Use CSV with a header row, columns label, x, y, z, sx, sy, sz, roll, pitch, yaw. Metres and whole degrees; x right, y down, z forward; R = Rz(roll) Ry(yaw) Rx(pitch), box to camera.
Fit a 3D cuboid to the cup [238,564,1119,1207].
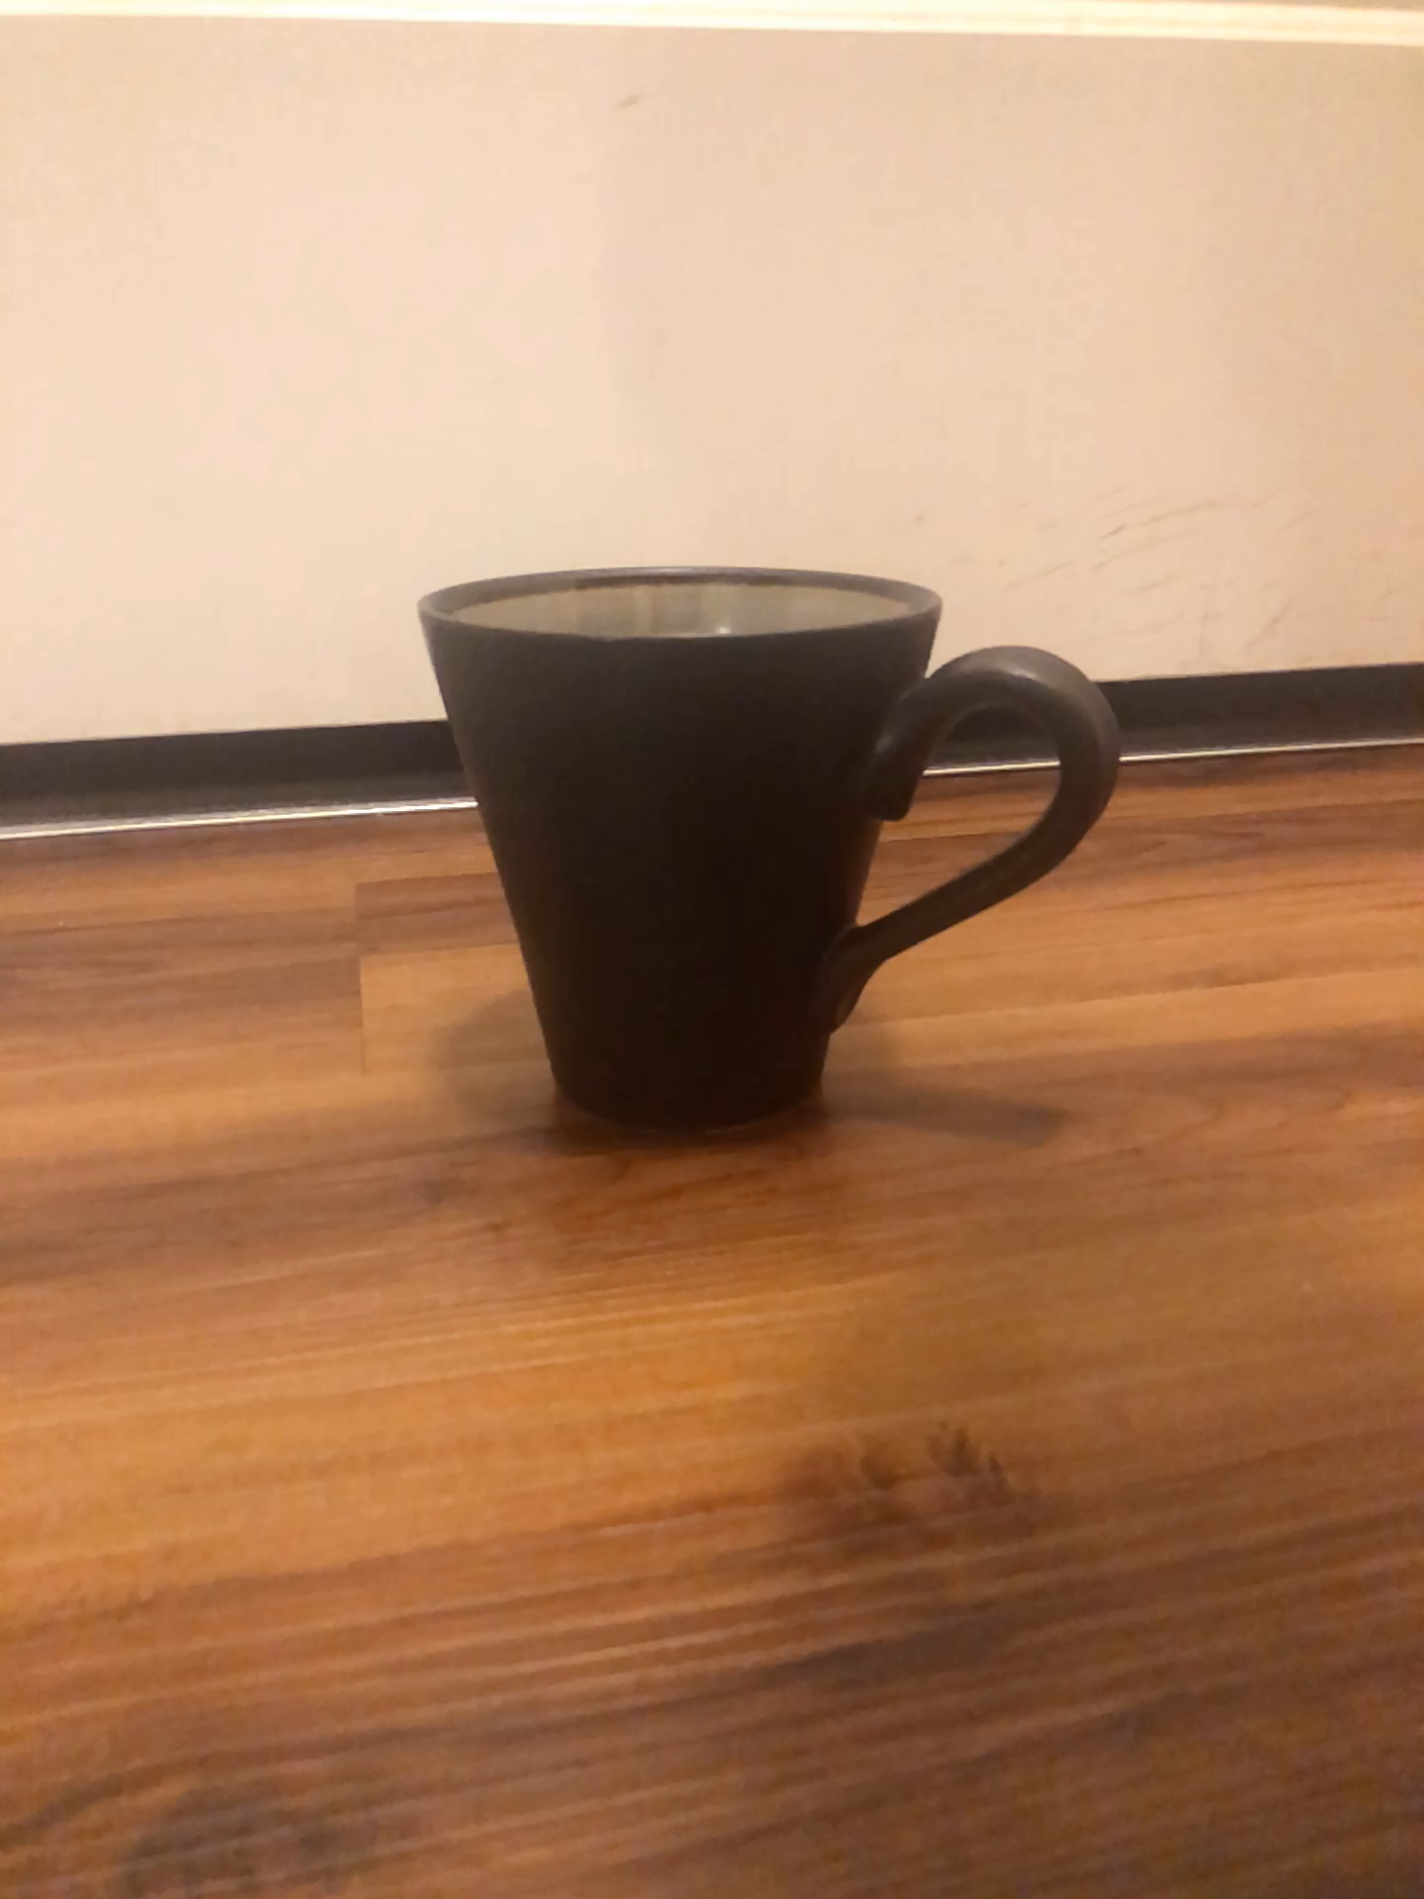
label,x,y,z,sx,sy,sz,roll,pitch,yaw
cup,-0.001,-0.027,0.352,0.154,0.100,0.115,8,21,23
